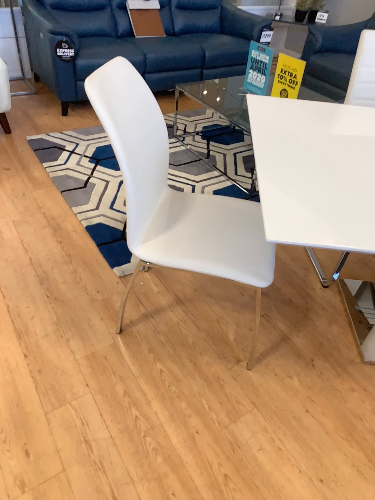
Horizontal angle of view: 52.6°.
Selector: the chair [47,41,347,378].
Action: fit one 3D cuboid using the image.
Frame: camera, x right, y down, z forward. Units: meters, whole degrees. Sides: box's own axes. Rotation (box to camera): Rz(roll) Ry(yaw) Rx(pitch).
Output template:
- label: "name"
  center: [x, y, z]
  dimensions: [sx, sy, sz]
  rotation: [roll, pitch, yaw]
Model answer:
- label: "chair"
  center: [0.025, -0.113, 1.287]
  dimensions: [0.670, 0.881, 0.494]
  rotation: [14, 41, 8]
